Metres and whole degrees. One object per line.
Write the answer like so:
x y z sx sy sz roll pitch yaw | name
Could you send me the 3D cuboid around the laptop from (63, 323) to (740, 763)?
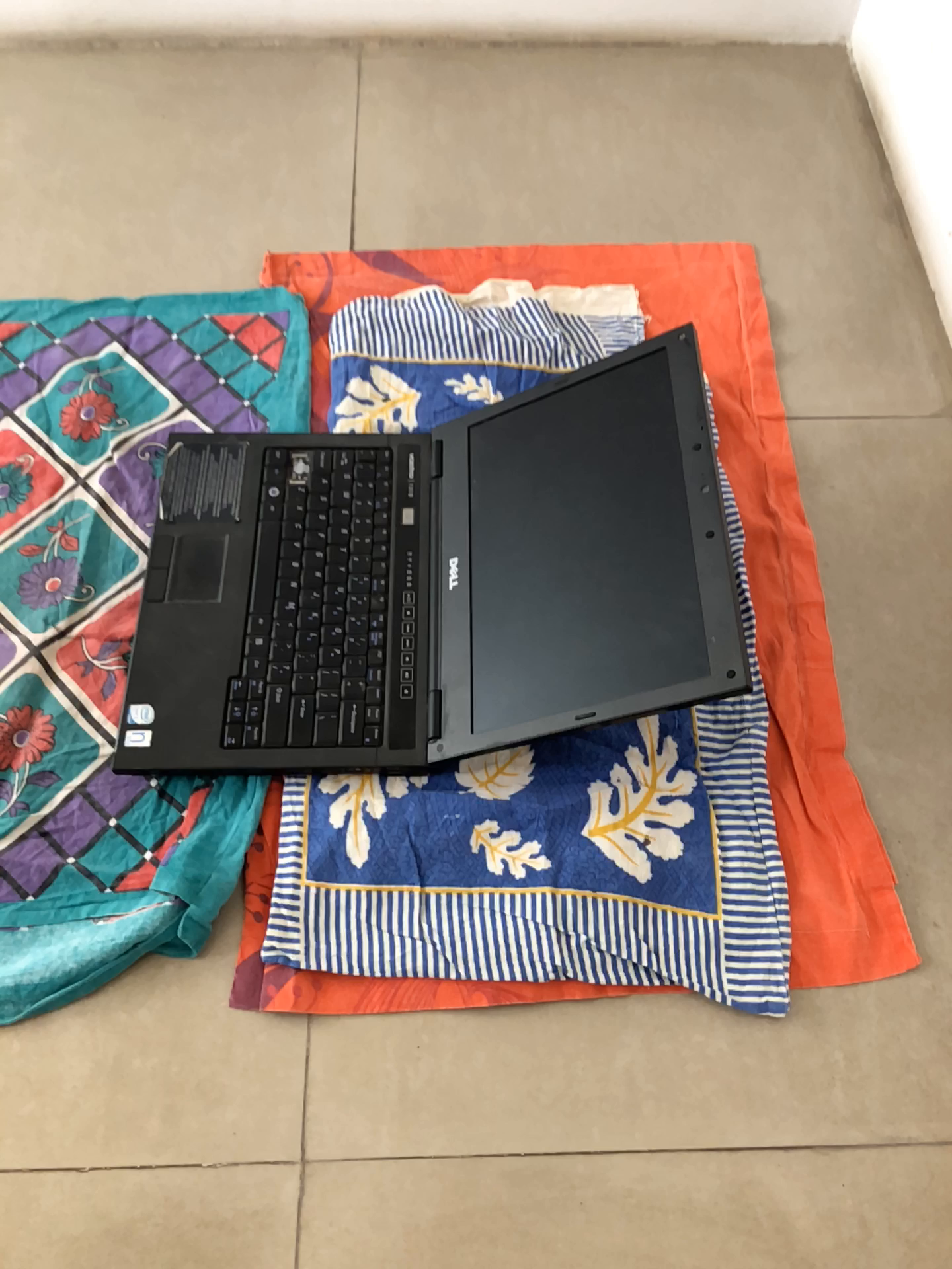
-0.047 -0.072 0.780 0.419 0.125 0.307 0 60 -3 | laptop
